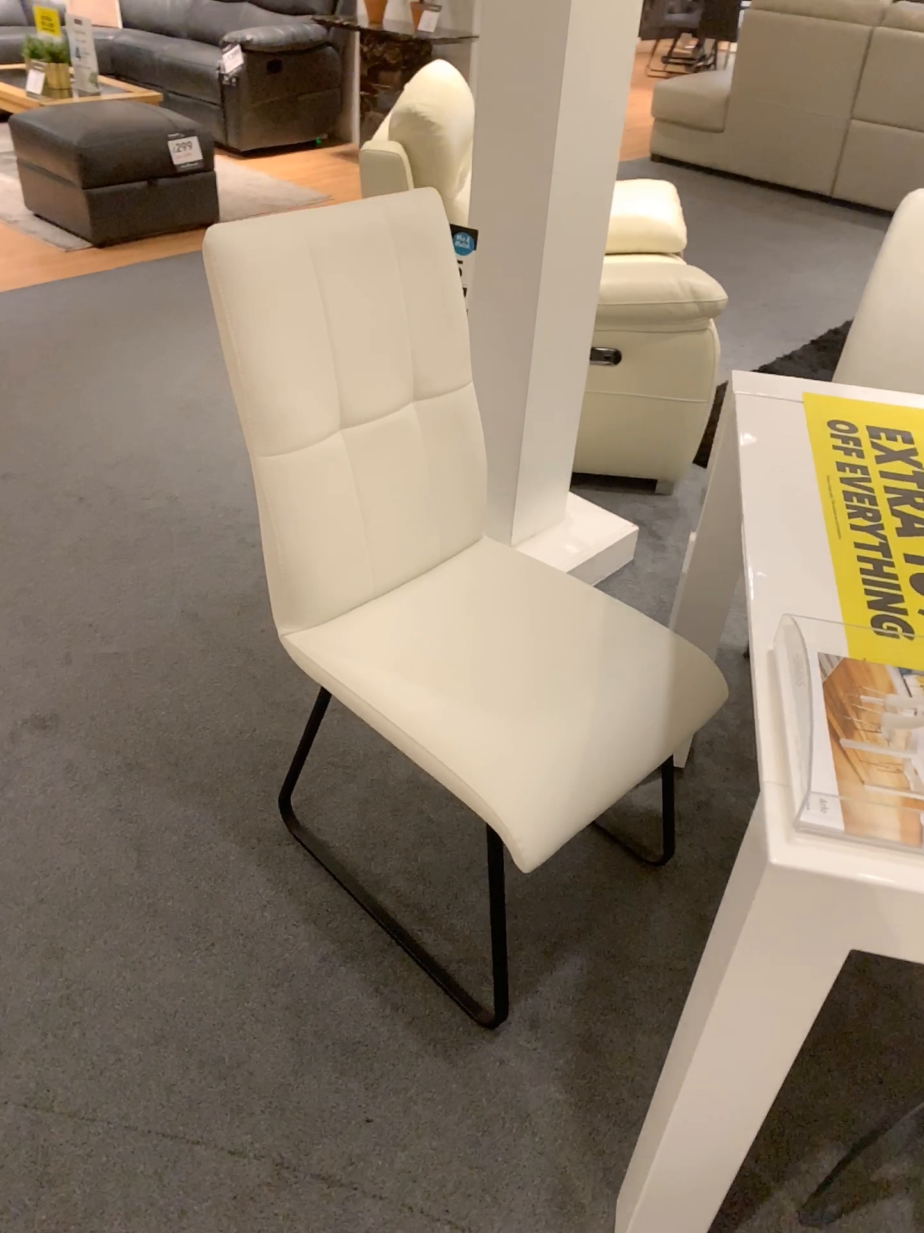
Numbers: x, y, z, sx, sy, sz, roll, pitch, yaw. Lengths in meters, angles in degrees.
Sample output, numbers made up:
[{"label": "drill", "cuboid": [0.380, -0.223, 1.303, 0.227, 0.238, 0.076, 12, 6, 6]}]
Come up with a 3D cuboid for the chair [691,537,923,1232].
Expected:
[{"label": "chair", "cuboid": [0.530, 0.531, 0.582, 0.550, 0.881, 0.605, 12, 38, 9]}]

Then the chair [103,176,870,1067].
[{"label": "chair", "cuboid": [-0.003, -0.023, 1.280, 0.633, 0.881, 0.542, 33, 45, 32]}]

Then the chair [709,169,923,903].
[{"label": "chair", "cuboid": [0.784, -0.128, 1.497, 0.520, 0.901, 0.646, 7, 37, 3]}]
